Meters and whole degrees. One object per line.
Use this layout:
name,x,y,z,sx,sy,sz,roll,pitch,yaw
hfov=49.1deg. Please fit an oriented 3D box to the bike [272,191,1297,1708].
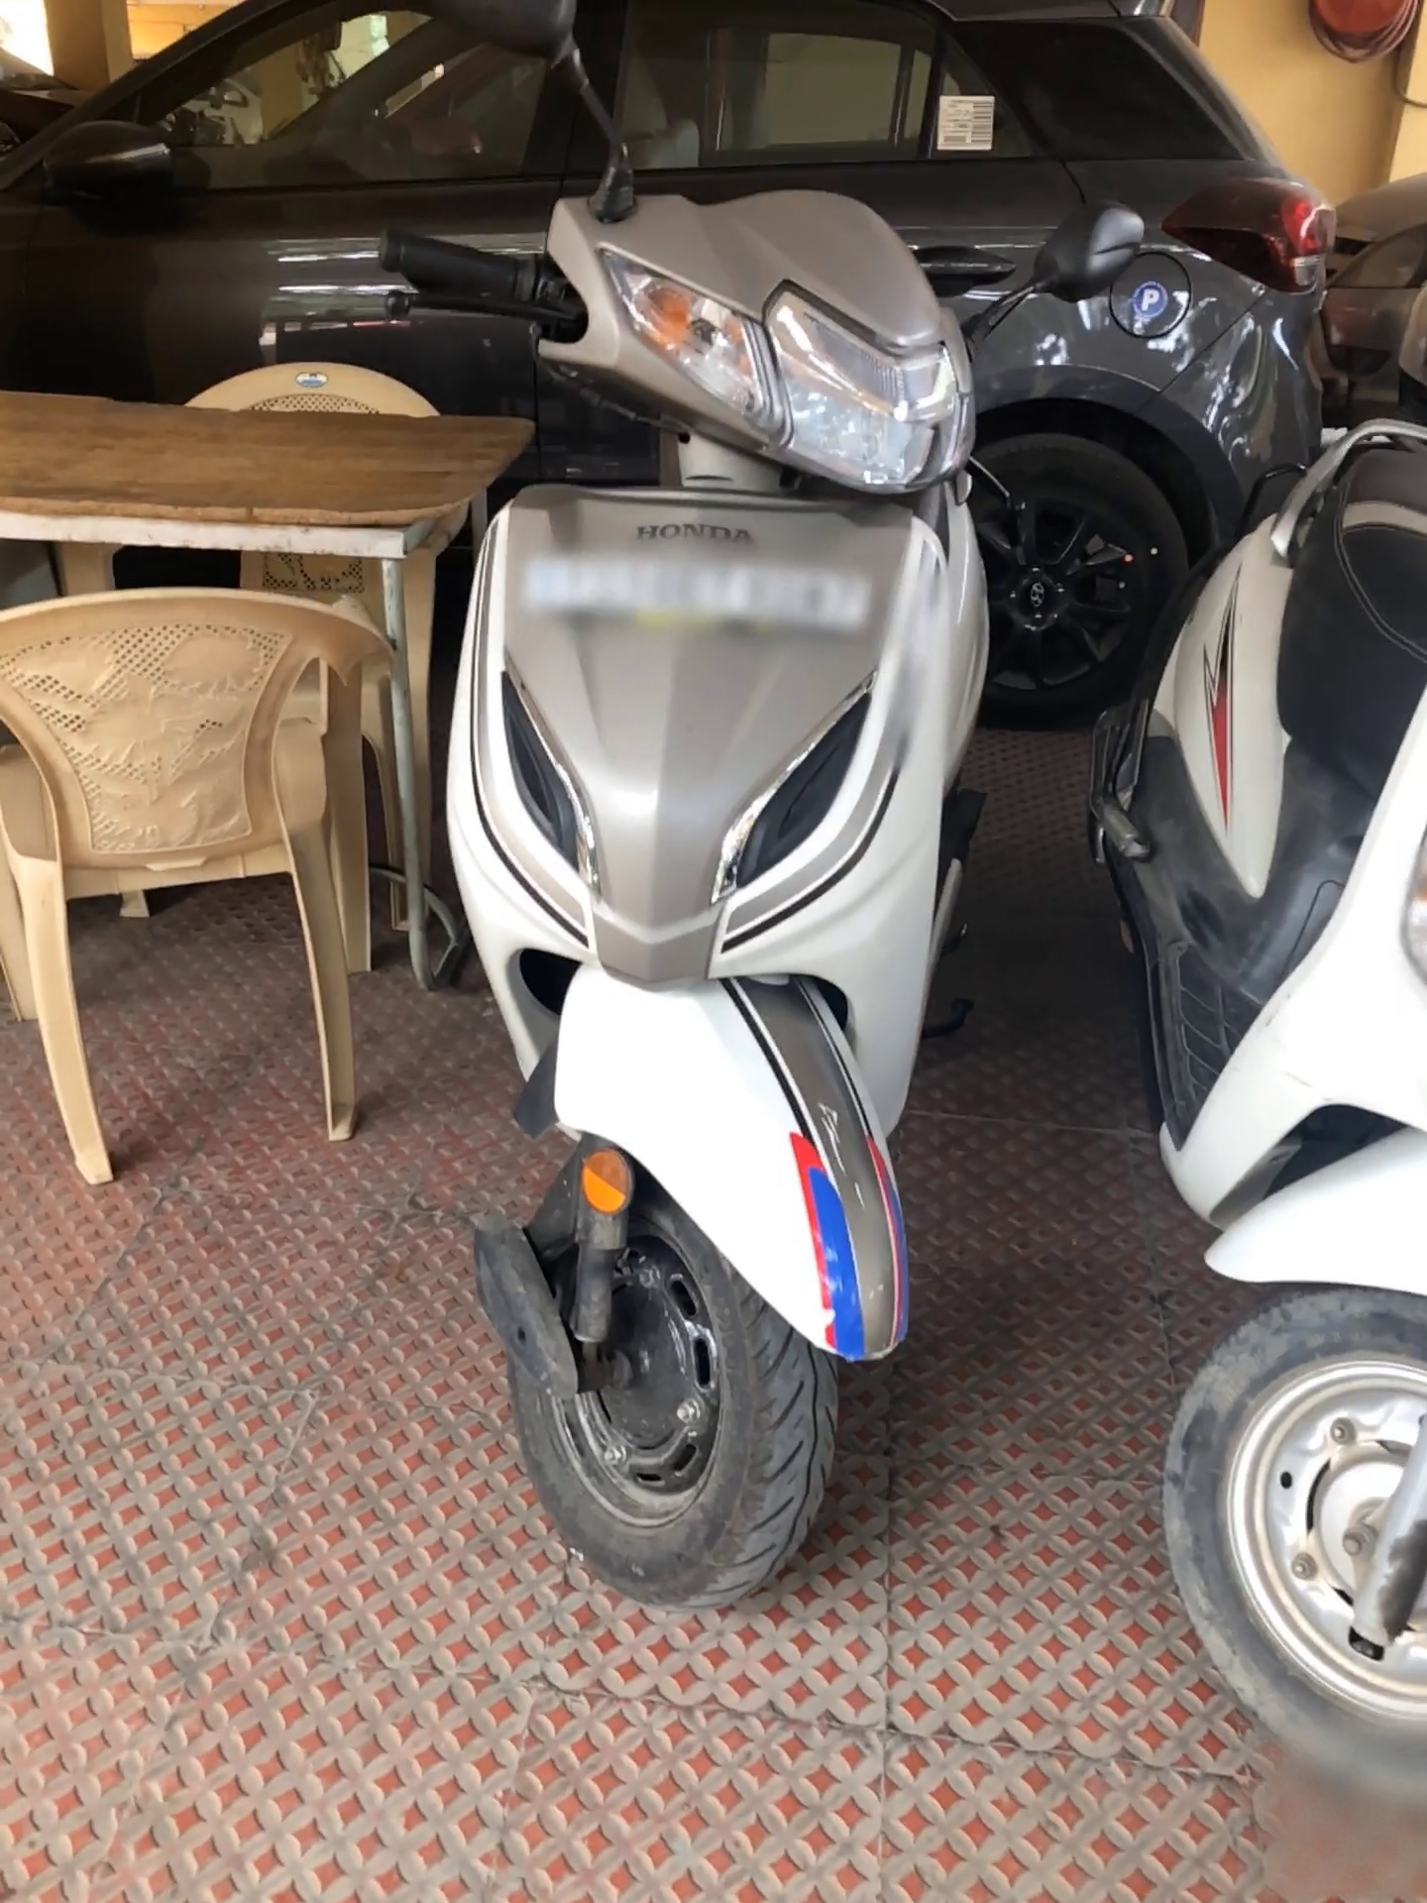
bike,0.070,-0.198,1.736,0.626,0.849,1.465,3,35,3
